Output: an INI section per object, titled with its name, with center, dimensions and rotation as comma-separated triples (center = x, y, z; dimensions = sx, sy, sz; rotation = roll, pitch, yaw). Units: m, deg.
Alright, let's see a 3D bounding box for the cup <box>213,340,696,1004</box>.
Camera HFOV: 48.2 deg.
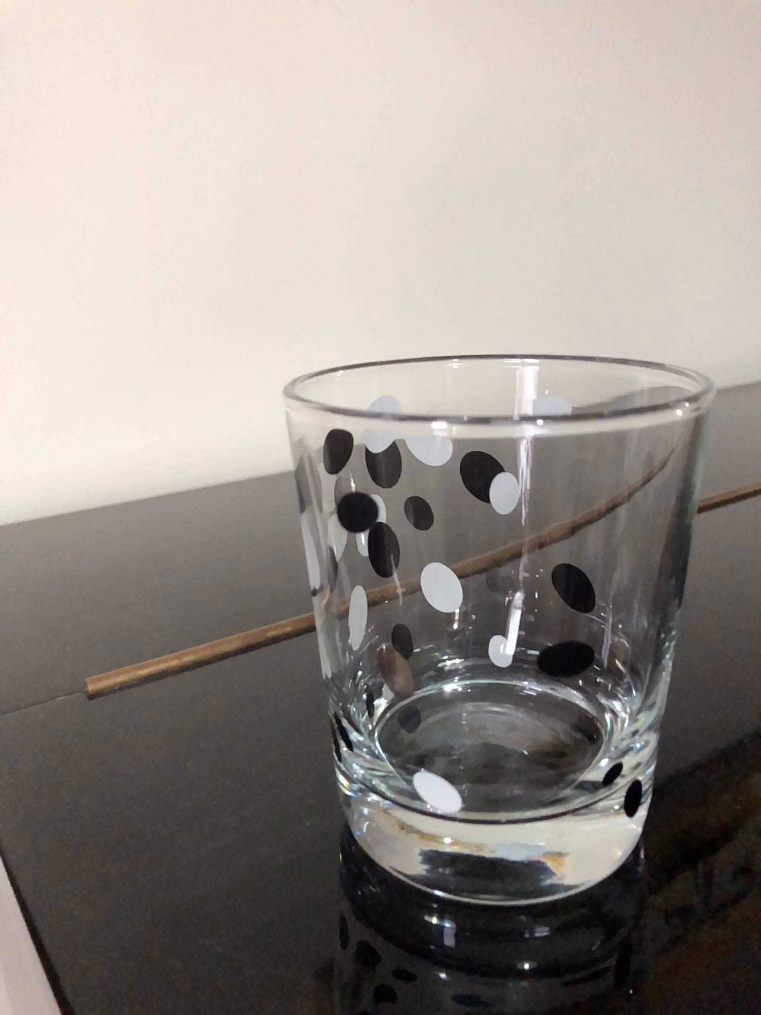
[cup]
center = 0.022, 0.020, 0.176
dimensions = 0.070, 0.100, 0.080
rotation = 5, 17, 23
